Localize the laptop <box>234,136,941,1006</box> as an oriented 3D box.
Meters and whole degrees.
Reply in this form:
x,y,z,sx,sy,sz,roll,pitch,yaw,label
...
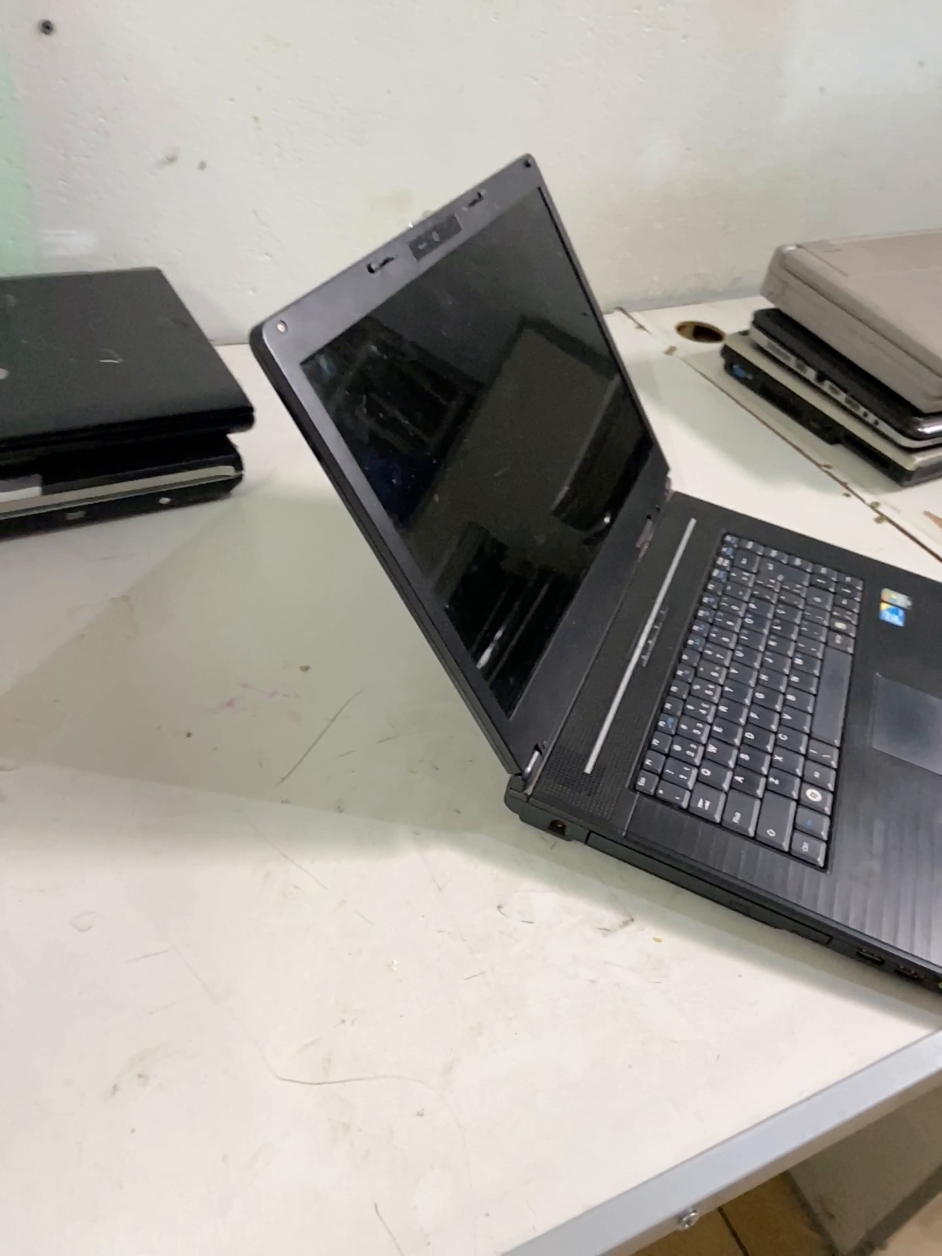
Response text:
x,y,z,sx,sy,sz,roll,pitch,yaw,label
0.150,-0.077,0.570,0.429,0.224,0.353,21,42,12,laptop
